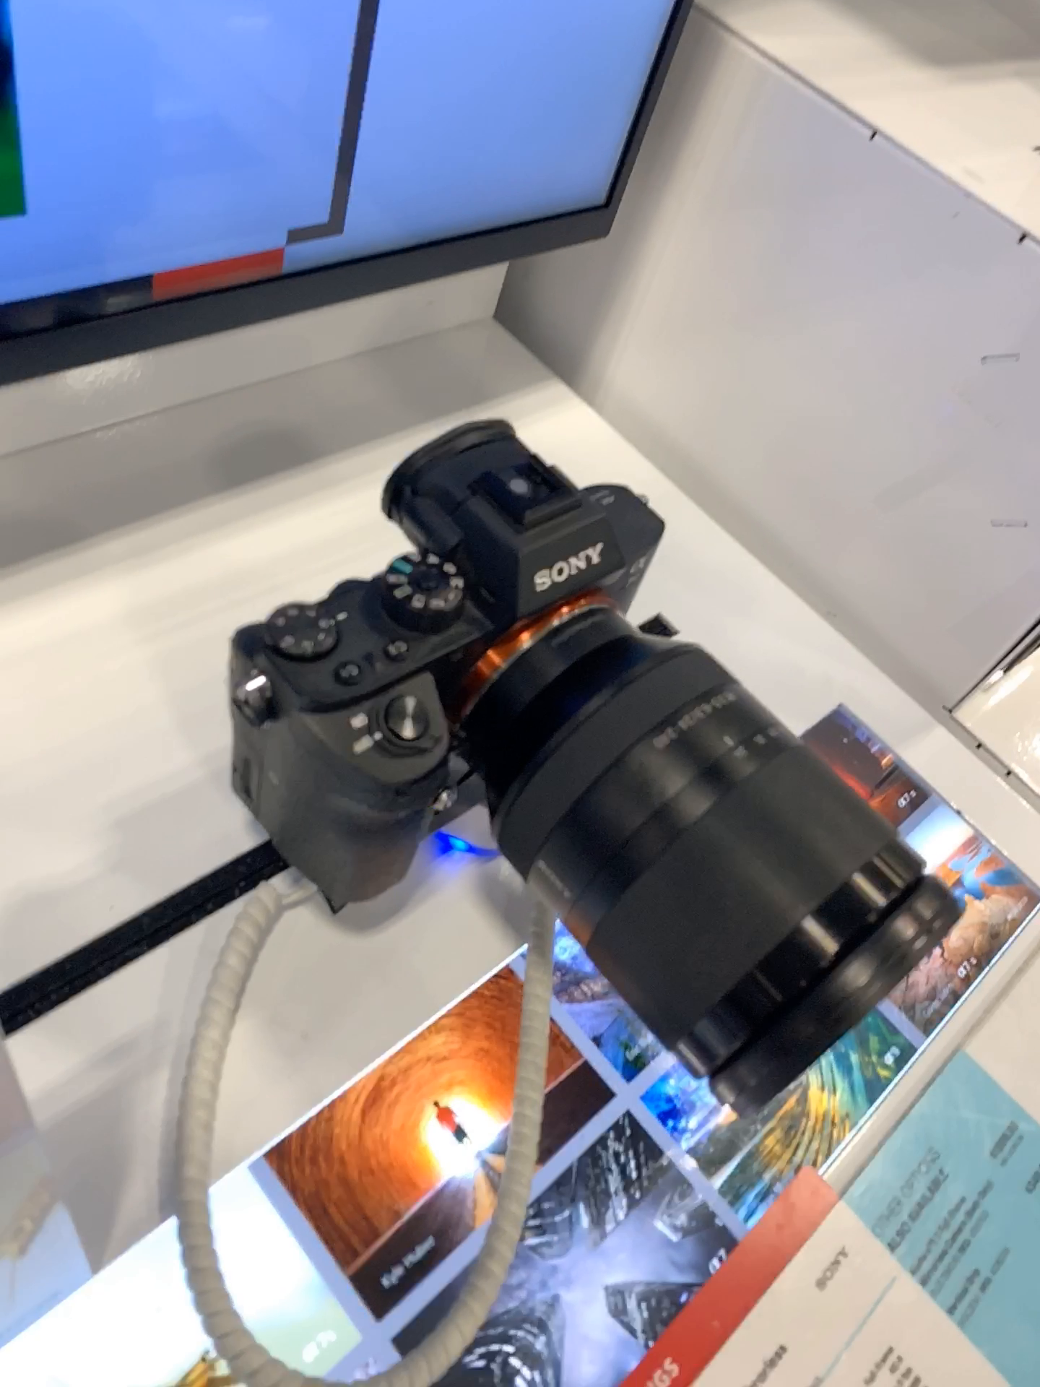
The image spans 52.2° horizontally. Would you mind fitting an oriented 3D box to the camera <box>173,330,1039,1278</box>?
[{"bbox_3d":[0.023,0.016,0.270,0.184,0.091,0.129,44,53,16],"label":"camera"}]
